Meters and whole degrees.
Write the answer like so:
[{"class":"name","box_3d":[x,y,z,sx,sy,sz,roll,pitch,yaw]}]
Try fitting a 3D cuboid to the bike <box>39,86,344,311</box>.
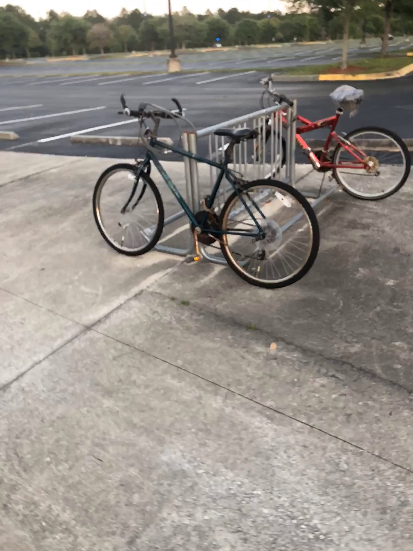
[{"class":"bike","box_3d":[-0.132,-0.581,2.940,1.754,1.103,0.586,13,30,30]}]
